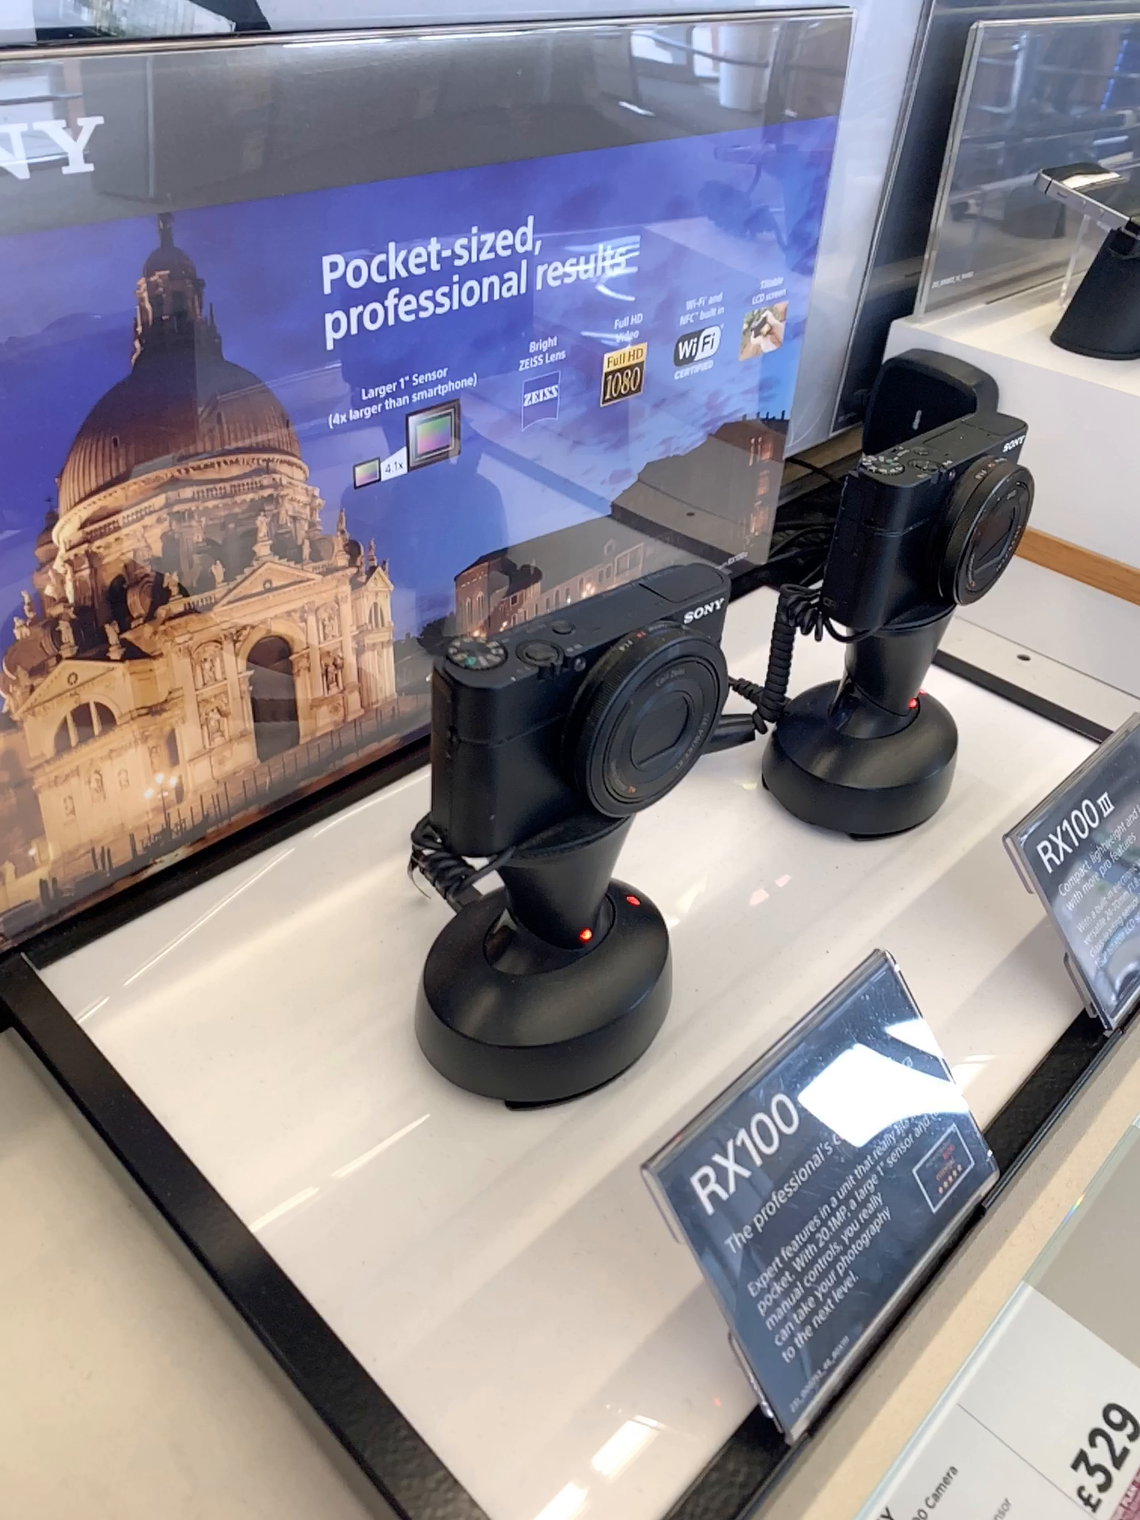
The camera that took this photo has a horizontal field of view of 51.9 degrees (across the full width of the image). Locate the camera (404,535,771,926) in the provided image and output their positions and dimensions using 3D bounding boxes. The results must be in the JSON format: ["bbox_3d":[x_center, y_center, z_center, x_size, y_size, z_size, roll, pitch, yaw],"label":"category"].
[{"bbox_3d":[0.005,-0.012,0.337,0.101,0.069,0.040,-29,48,-36],"label":"camera"}]
